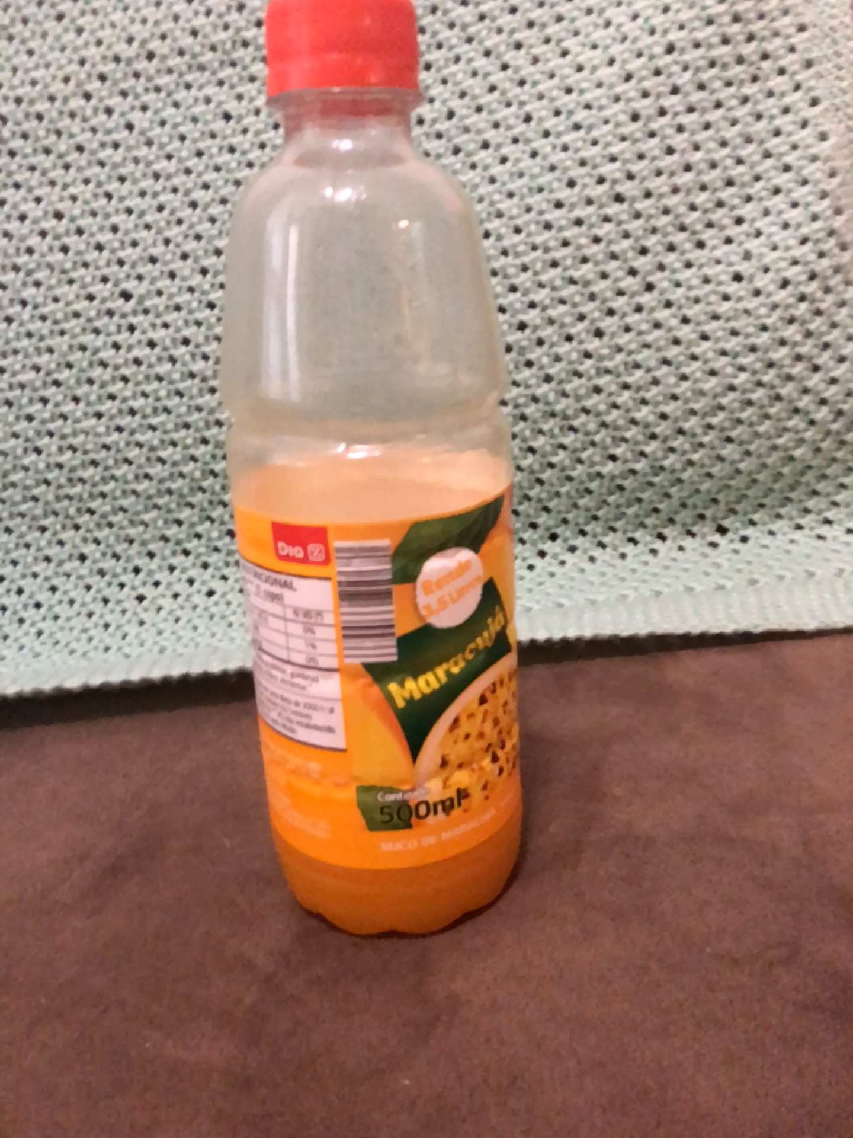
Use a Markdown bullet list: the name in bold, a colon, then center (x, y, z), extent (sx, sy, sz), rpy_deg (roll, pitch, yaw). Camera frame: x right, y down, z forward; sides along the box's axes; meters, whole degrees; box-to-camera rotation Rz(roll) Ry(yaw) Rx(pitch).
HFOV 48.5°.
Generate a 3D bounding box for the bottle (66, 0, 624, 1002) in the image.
- **bottle**: center (-0.013, -0.022, 0.220), extent (0.080, 0.199, 0.080), rpy_deg (-4, 19, 1)
